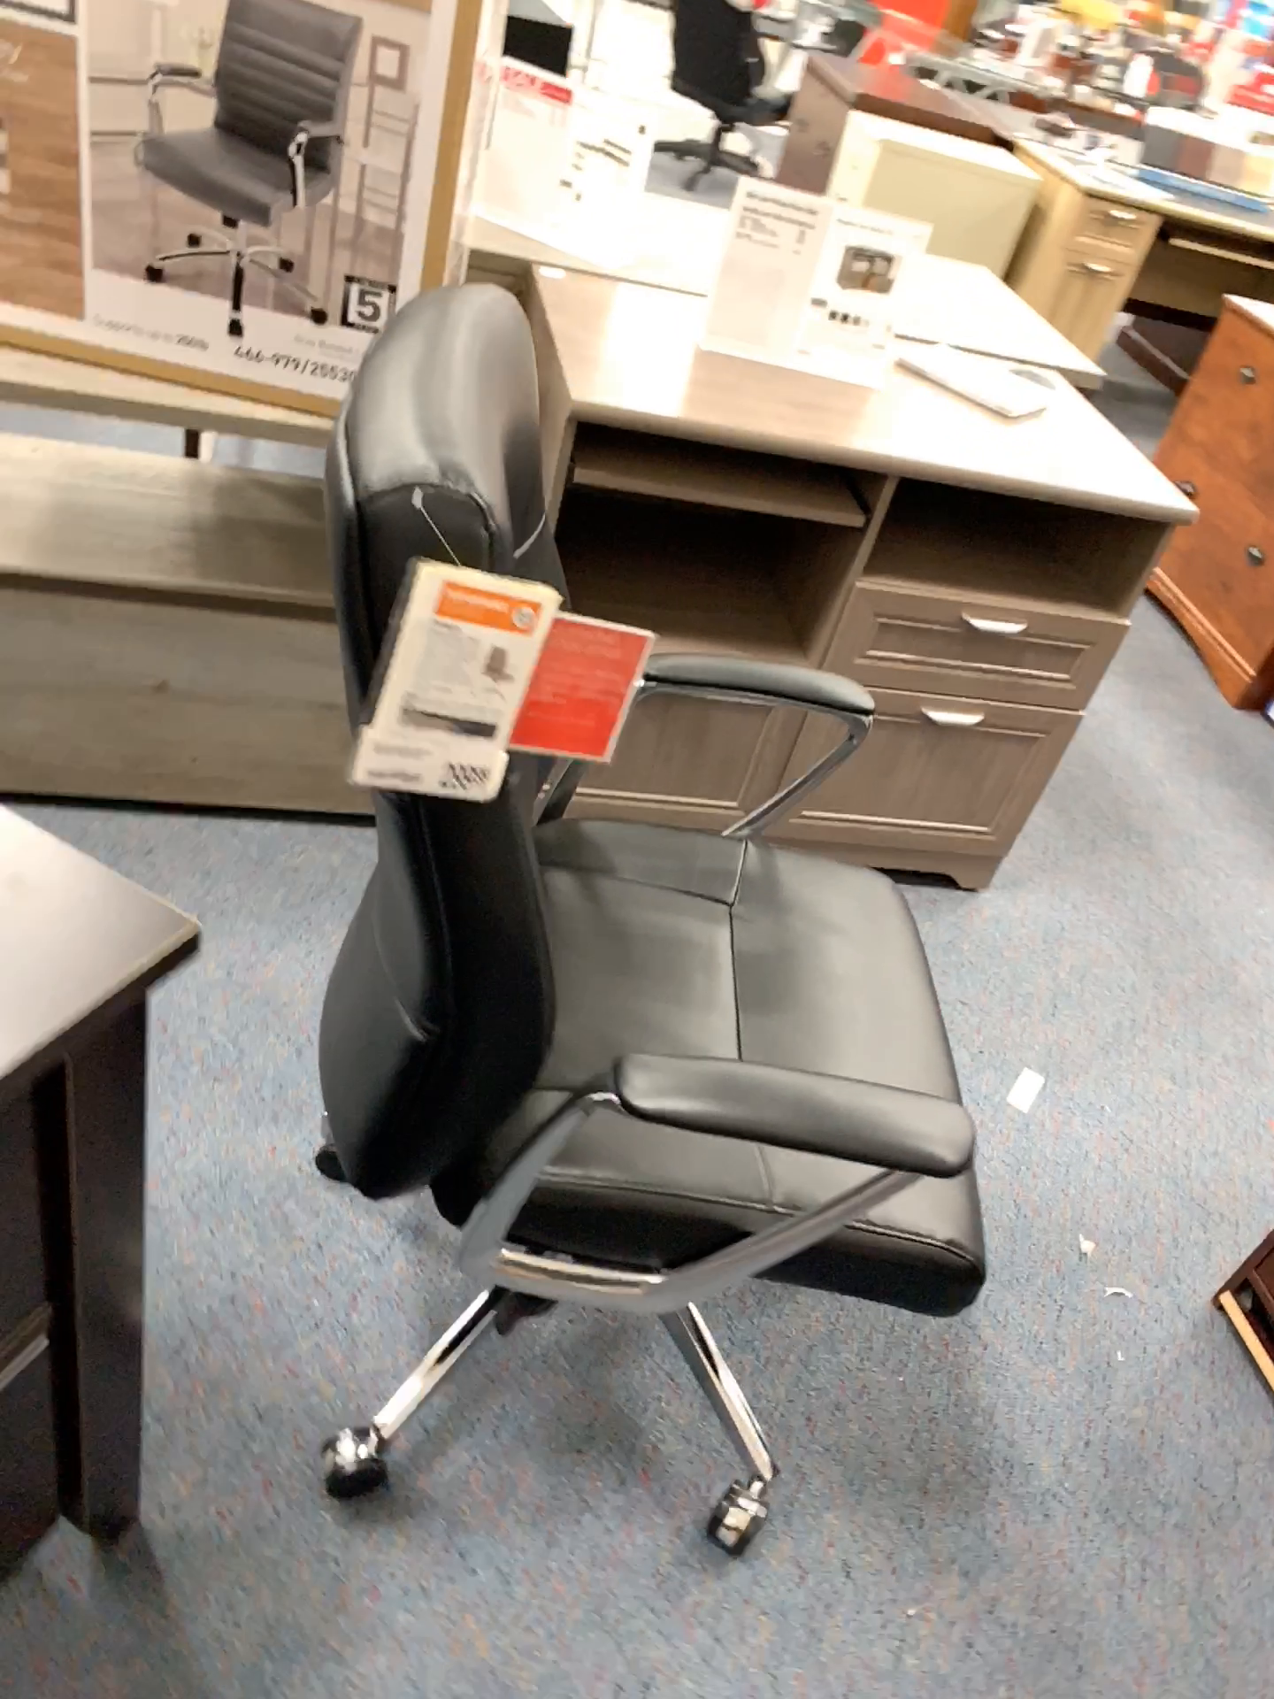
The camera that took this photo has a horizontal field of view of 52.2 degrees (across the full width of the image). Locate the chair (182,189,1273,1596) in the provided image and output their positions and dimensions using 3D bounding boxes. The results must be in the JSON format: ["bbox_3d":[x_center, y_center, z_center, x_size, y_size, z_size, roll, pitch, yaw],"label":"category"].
[{"bbox_3d":[0.053,0.089,1.208,0.717,0.996,0.667,11,38,-8],"label":"chair"}]
